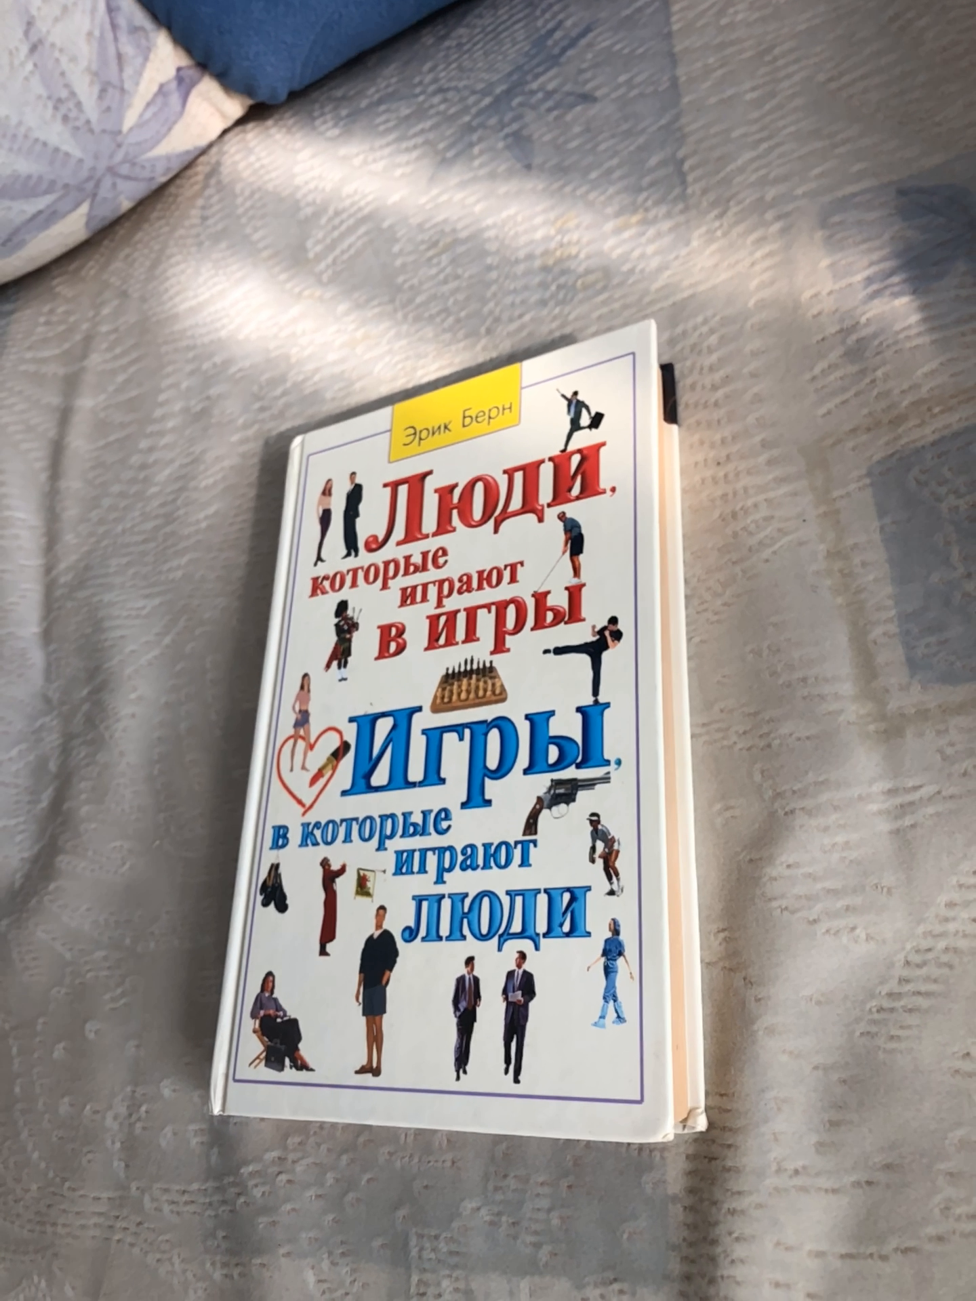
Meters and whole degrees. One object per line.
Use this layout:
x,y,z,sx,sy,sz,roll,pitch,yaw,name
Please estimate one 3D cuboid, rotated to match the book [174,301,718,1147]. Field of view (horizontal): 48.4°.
-0.011,0.017,0.301,0.135,0.030,0.211,-10,65,27,book
